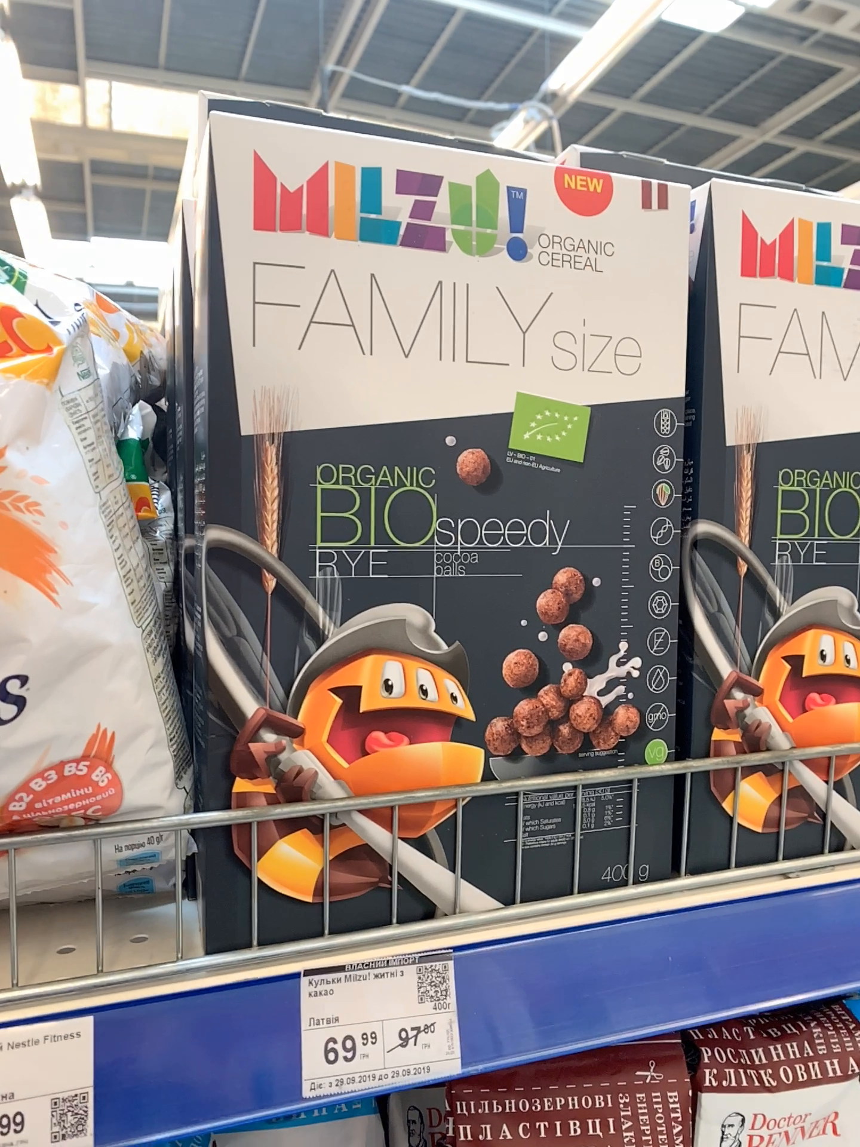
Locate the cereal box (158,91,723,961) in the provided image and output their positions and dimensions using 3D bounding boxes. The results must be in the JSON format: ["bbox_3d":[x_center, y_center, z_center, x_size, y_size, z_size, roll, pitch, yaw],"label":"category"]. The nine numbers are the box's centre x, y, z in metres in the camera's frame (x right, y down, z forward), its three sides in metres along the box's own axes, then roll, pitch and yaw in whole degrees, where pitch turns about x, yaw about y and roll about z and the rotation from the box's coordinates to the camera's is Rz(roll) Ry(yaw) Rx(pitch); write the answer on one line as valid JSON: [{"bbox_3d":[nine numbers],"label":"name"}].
[{"bbox_3d":[0.001,-0.015,0.349,0.200,0.270,0.080,0,4,-21],"label":"cereal box"}]
